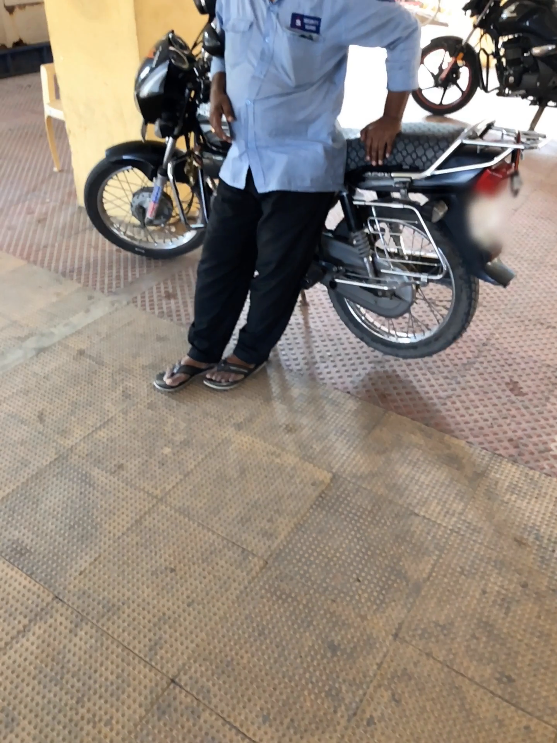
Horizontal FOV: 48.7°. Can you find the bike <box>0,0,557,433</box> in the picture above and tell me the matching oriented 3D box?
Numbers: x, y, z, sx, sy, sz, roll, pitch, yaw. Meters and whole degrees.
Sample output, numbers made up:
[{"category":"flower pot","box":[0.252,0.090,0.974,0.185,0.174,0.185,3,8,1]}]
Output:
[{"category":"bike","box":[-0.114,-0.681,2.162,1.675,1.036,0.682,24,42,24]}]
